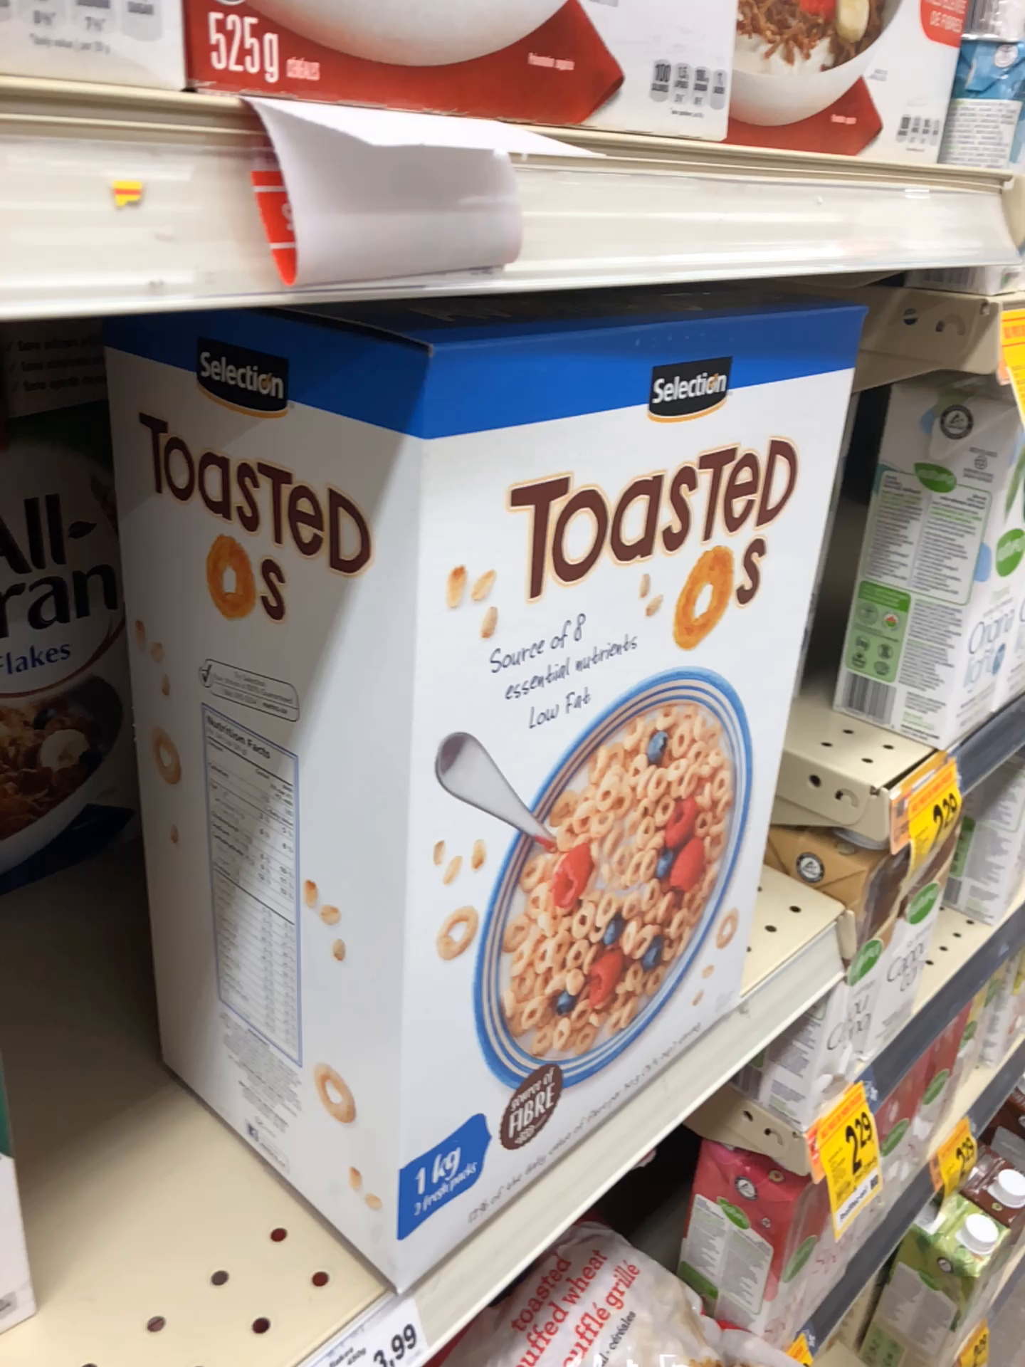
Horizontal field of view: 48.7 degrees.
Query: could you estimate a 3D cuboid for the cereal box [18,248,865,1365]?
[{"bbox_3d":[-0.018,0.016,0.446,0.160,0.338,0.241,21,30,37],"label":"cereal box"}]
